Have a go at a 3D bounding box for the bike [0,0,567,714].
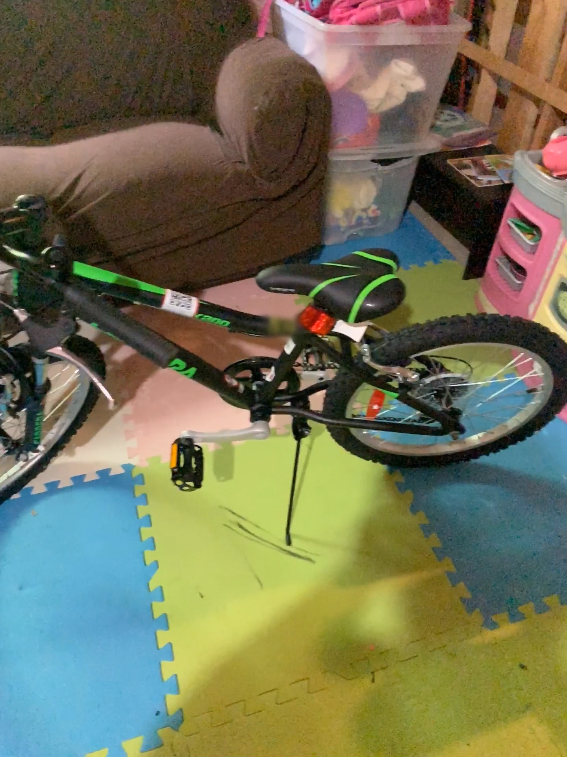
[{"bbox_3d":[-0.084,-0.016,0.983,1.269,0.841,0.536,-10,44,-7],"label":"bike"}]
